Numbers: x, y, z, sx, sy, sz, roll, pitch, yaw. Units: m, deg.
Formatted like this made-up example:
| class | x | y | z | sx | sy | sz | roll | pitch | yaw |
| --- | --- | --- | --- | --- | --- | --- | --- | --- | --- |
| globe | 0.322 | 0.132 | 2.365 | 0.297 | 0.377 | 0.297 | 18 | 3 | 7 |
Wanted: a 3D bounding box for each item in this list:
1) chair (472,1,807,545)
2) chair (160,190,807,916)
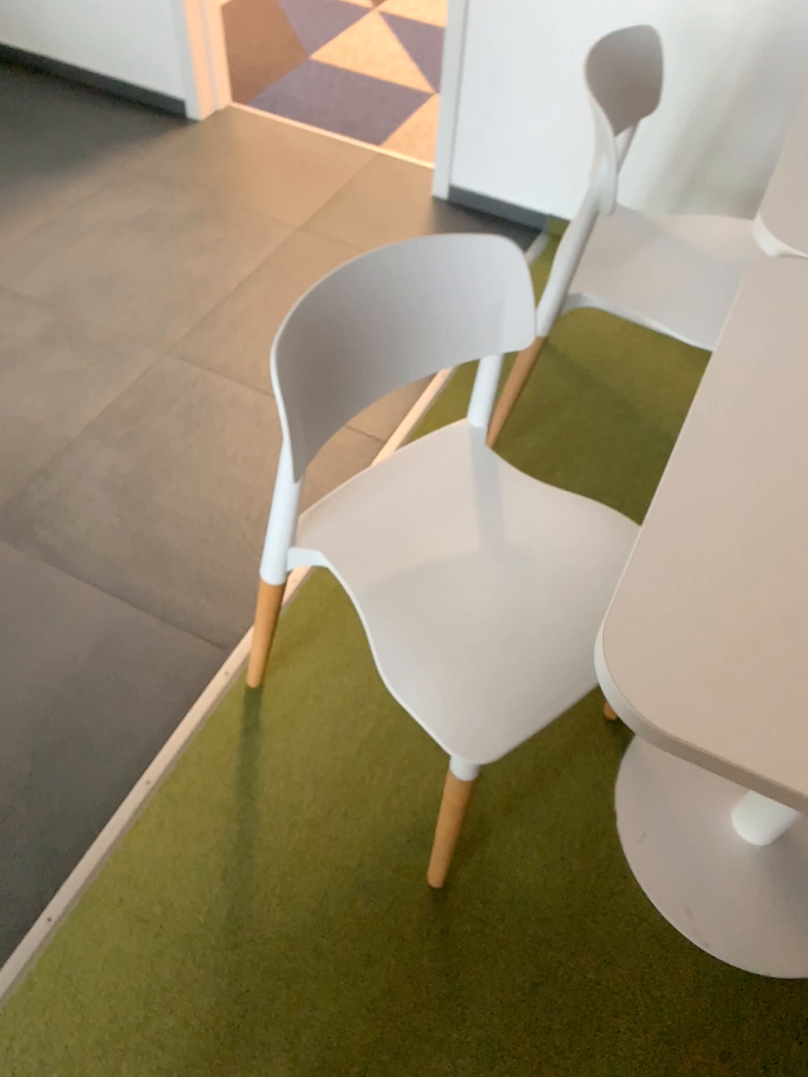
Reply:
| class | x | y | z | sx | sy | sz | roll | pitch | yaw |
| --- | --- | --- | --- | --- | --- | --- | --- | --- | --- |
| chair | 0.501 | -0.492 | 1.625 | 0.510 | 0.727 | 0.562 | 18 | 54 | 10 |
| chair | 0.082 | 0.054 | 1.162 | 0.511 | 0.747 | 0.501 | -32 | 61 | -24 |
